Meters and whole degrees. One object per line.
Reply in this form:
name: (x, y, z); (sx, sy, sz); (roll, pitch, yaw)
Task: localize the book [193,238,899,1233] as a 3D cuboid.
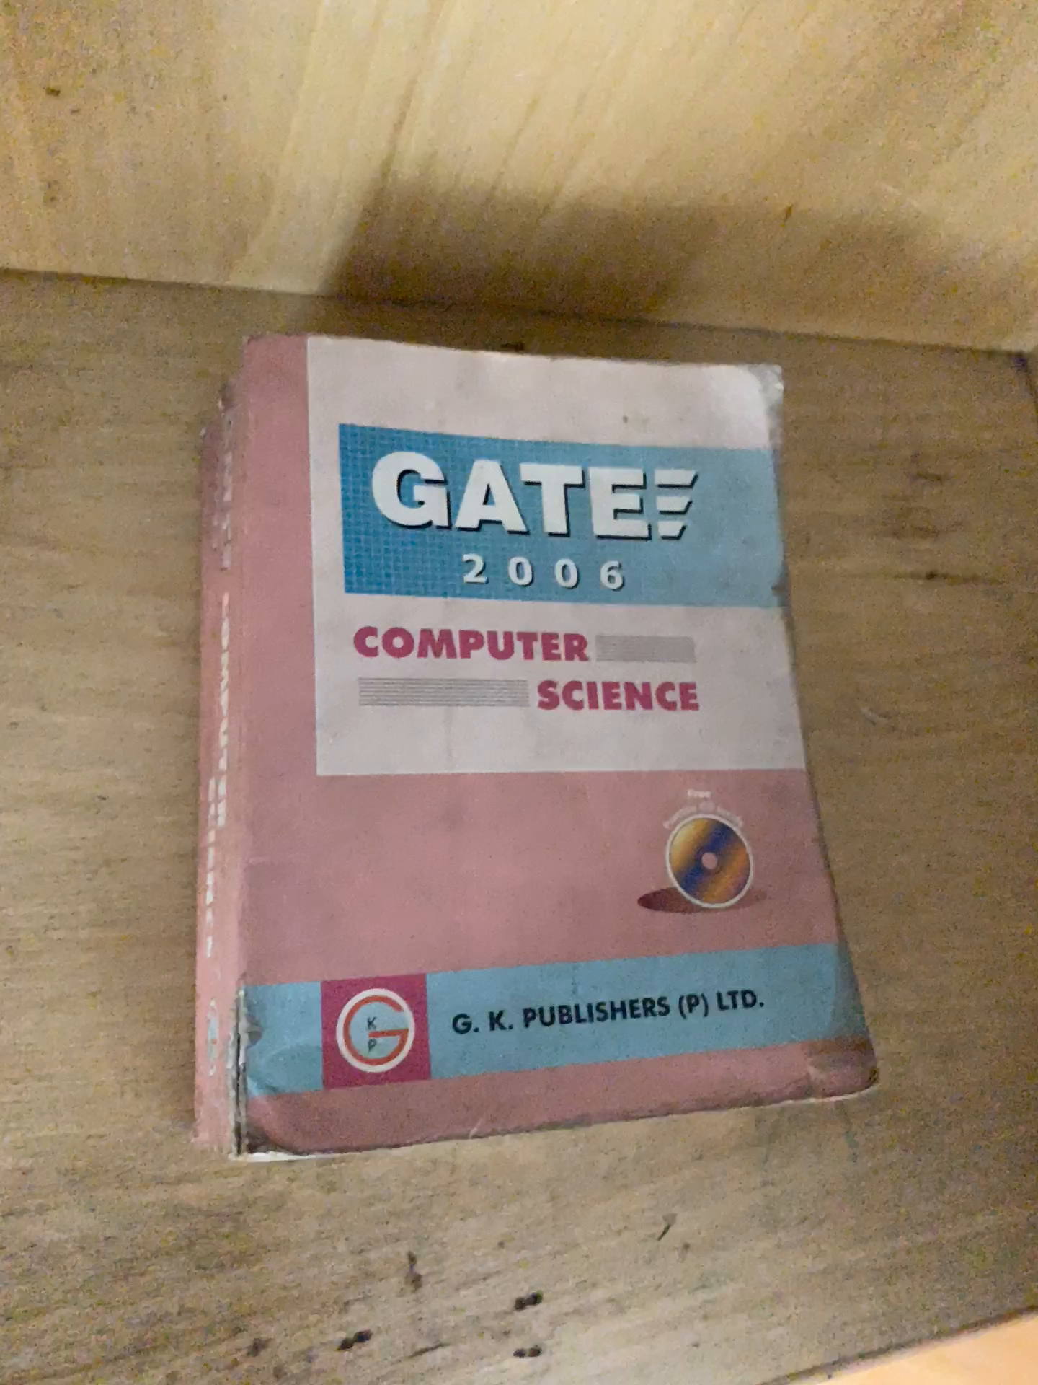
book: (-0.003, 0.007, 0.350); (0.190, 0.080, 0.271); (2, 73, -18)
